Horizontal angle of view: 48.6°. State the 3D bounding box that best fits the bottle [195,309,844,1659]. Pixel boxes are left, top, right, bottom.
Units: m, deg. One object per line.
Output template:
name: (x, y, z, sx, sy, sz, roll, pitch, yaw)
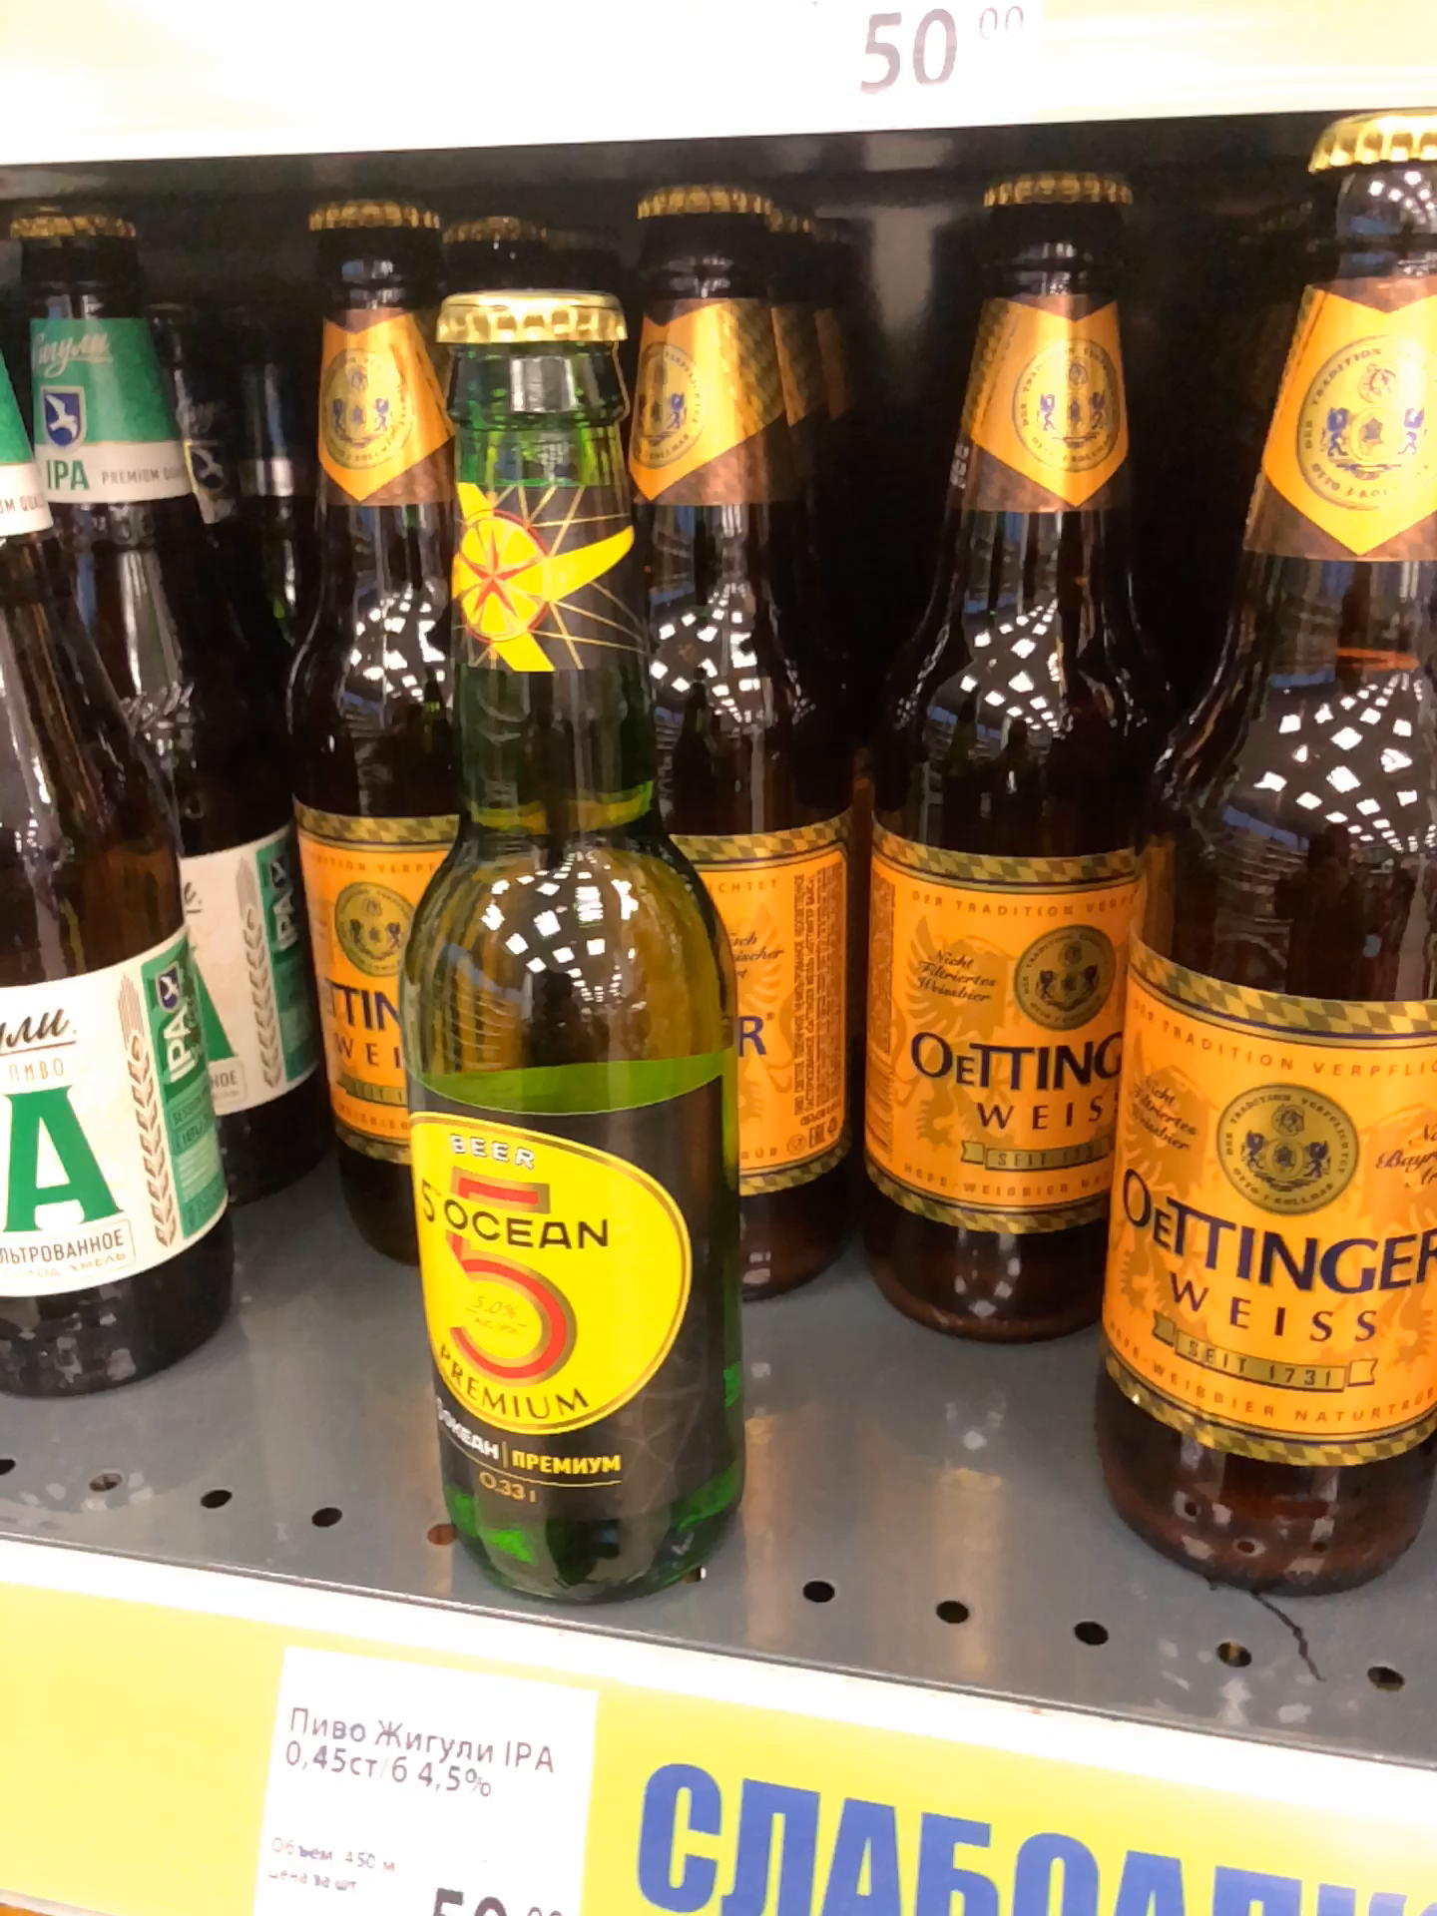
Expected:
bottle: (-0.023, 0.004, 0.271, 0.070, 0.210, 0.070, -1, 22, 1)
